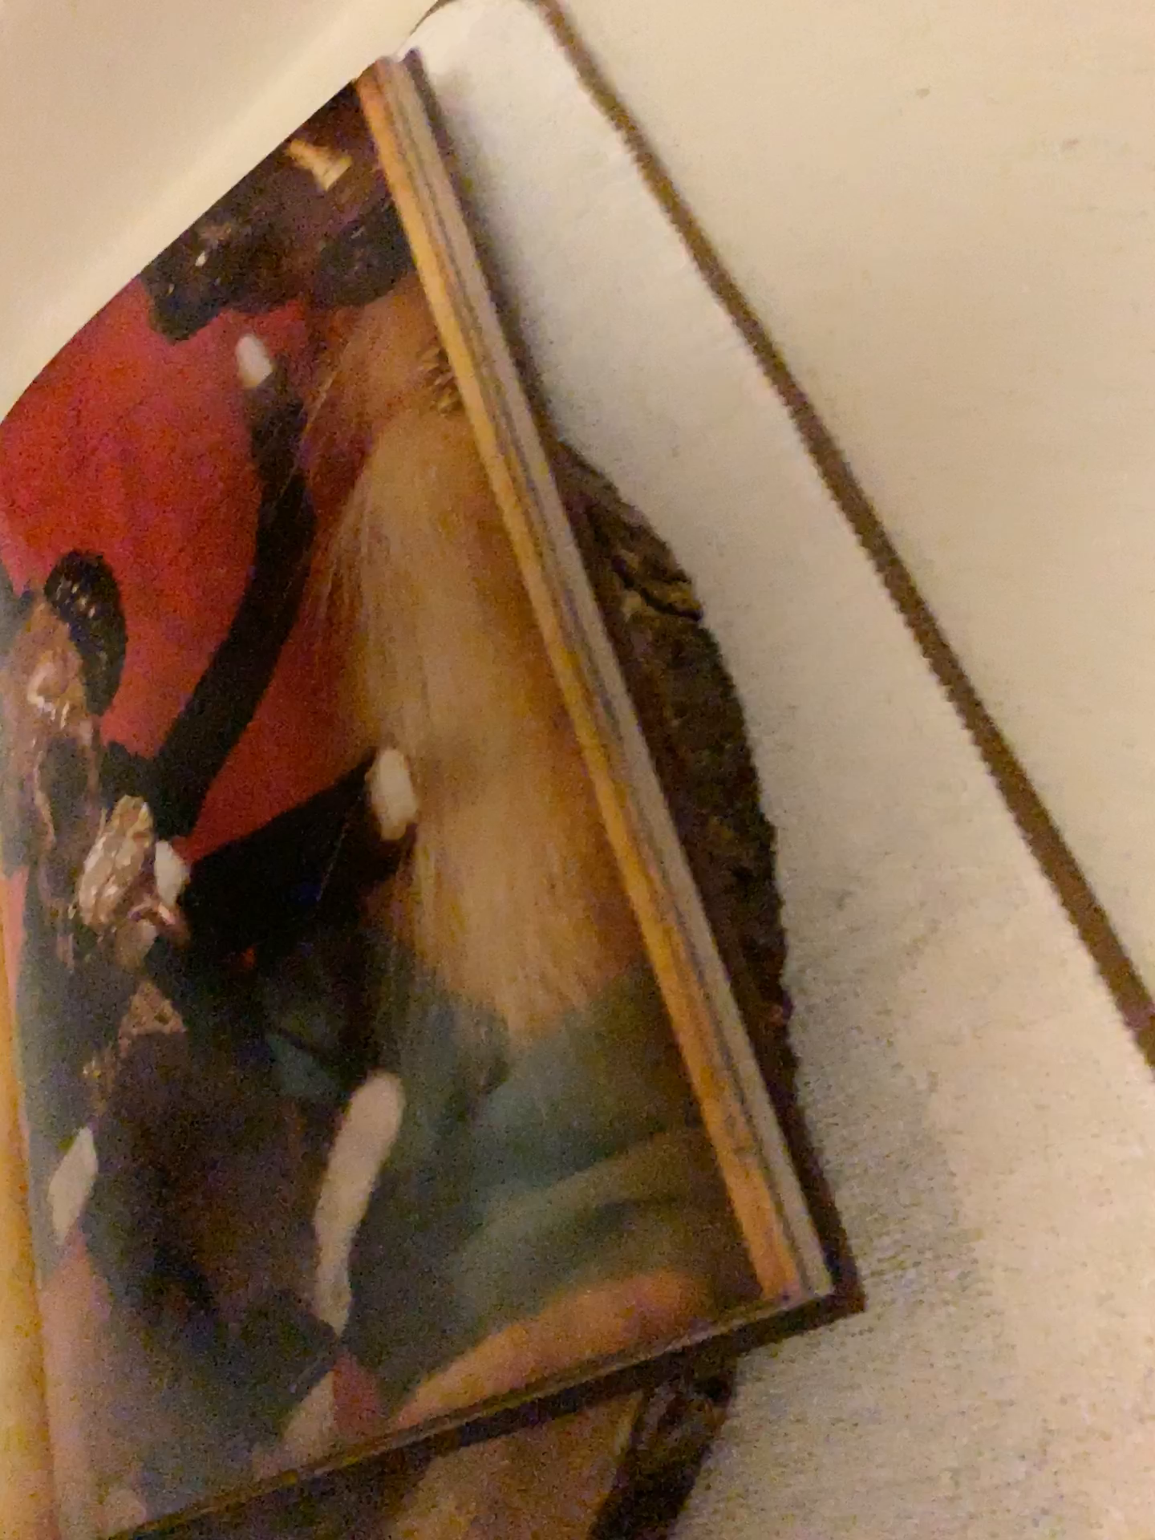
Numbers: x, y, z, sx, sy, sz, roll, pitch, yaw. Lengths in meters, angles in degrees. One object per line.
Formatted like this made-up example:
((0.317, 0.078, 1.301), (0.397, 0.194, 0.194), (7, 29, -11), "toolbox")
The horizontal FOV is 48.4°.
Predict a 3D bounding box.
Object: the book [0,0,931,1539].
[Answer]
((-0.164, 0.049, 0.373), (0.470, 0.040, 0.340), (-38, 57, 34), "book")
